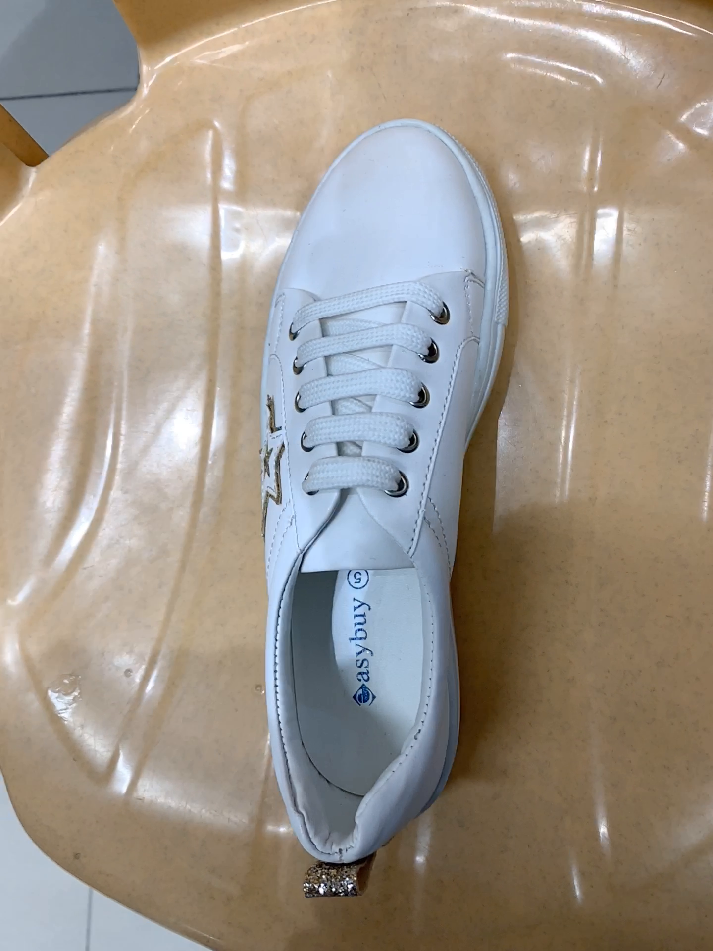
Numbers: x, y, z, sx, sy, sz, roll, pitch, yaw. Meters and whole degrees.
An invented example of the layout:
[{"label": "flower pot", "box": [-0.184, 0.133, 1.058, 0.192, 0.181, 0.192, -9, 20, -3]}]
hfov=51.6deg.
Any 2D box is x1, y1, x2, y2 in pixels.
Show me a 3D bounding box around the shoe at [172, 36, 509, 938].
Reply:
[{"label": "shoe", "box": [0.002, 0.003, 0.252, 0.090, 0.090, 0.240, 1, 90, 16]}]
